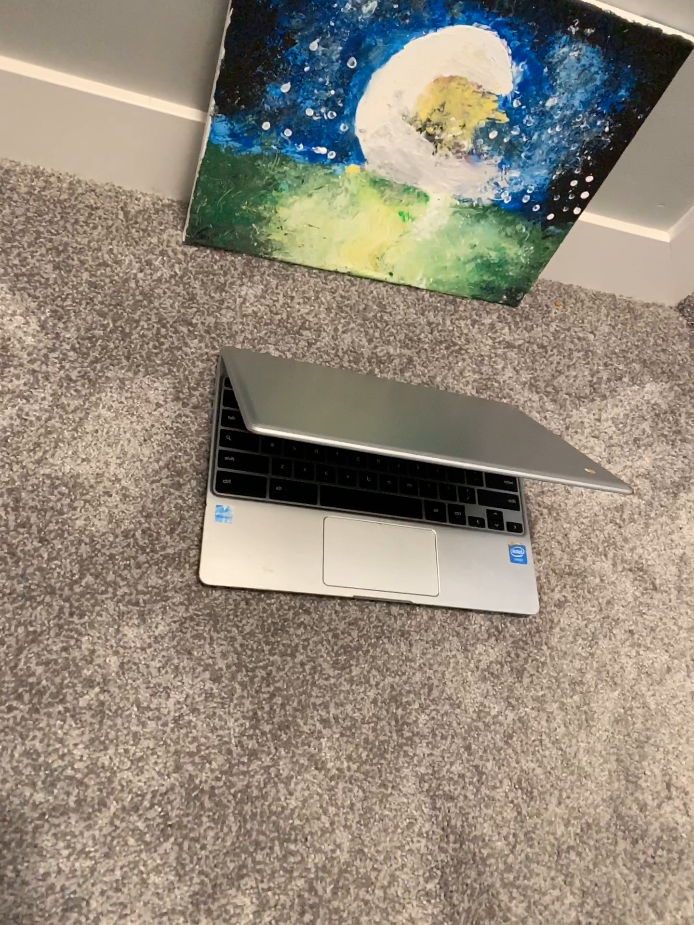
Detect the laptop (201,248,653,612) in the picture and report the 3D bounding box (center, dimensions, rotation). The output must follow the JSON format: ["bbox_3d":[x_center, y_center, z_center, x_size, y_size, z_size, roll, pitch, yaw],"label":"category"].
[{"bbox_3d":[0.054,-0.009,0.557,0.295,0.144,0.200,9,63,-19],"label":"laptop"}]
